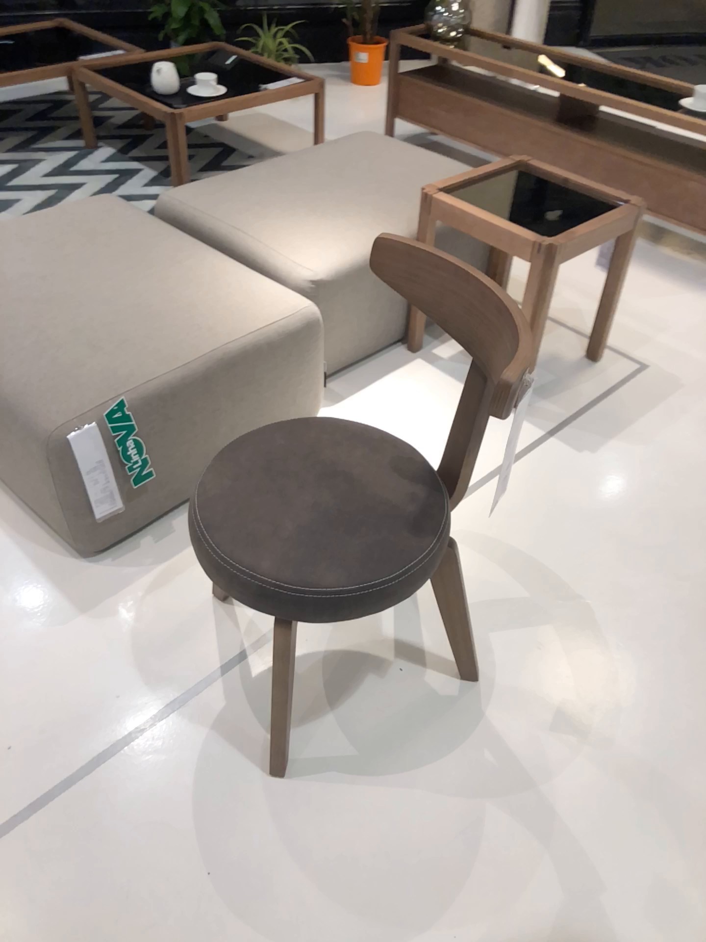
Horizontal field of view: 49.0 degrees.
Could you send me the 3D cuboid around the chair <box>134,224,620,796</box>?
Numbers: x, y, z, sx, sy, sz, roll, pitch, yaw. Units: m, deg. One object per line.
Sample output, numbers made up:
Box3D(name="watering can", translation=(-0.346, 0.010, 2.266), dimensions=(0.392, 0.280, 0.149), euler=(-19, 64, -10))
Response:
Box3D(name="chair", translation=(-0.011, 0.058, 1.295), dimensions=(0.521, 0.704, 0.503), euler=(-12, 43, -17))
